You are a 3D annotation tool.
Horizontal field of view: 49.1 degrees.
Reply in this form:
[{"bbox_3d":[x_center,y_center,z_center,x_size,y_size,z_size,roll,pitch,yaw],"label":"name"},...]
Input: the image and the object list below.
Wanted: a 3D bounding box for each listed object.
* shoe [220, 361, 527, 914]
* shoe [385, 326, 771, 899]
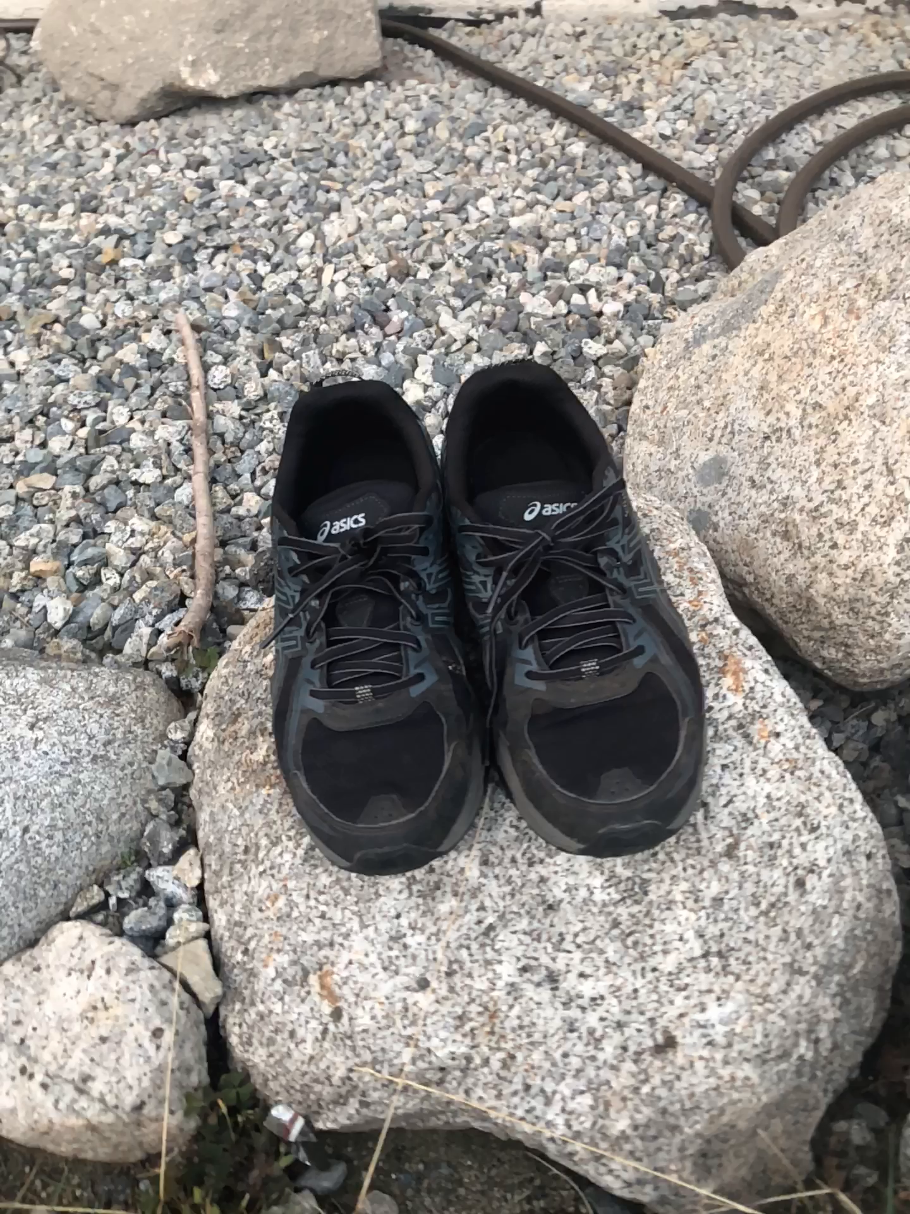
[{"bbox_3d":[-0.049,-0.002,0.524,0.120,0.099,0.282,-9,46,-3],"label":"shoe"},{"bbox_3d":[0.044,-0.016,0.513,0.120,0.099,0.292,-9,46,-3],"label":"shoe"}]
